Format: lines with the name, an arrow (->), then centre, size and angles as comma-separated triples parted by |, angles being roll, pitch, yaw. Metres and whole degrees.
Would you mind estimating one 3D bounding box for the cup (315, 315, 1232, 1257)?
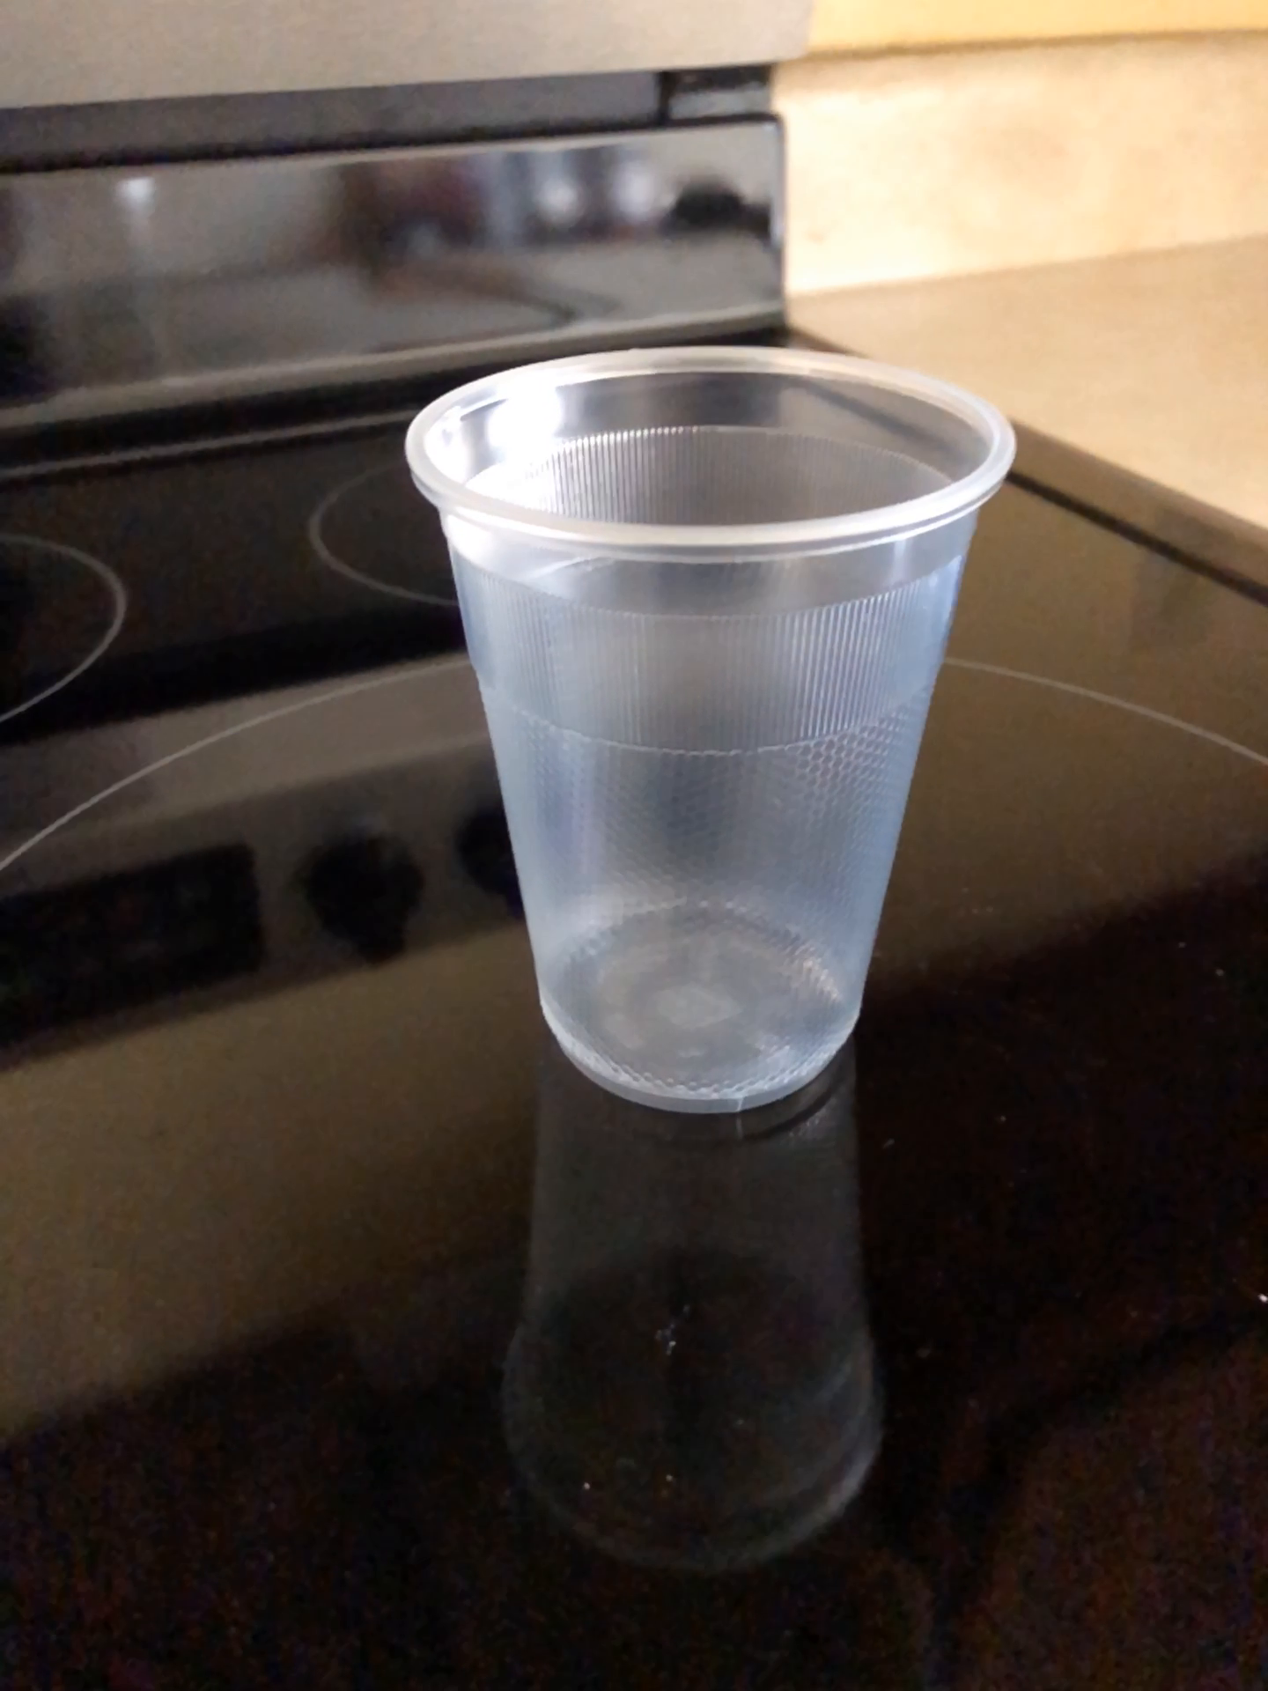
cup -> 0.010, -0.015, 0.183 | 0.079, 0.081, 0.081 | -1, 32, 1
